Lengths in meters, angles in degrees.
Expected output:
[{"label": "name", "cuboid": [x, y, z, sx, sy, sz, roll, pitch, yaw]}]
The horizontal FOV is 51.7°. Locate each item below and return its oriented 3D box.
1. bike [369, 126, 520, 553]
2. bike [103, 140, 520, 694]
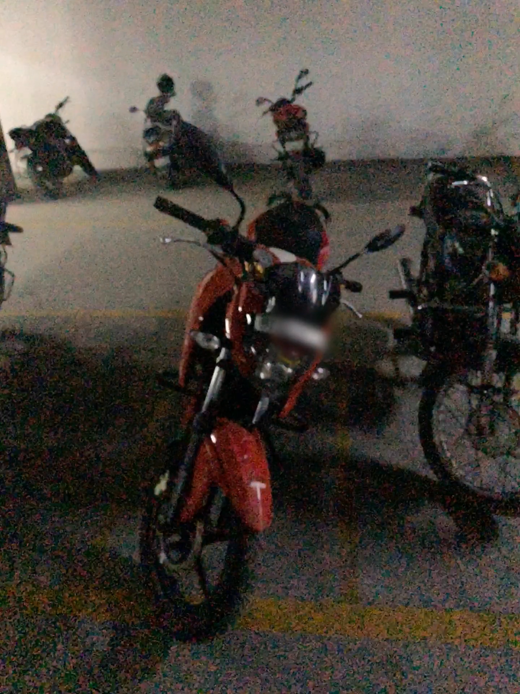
[{"label": "bike", "cuboid": [0.899, -0.218, 2.071, 0.673, 0.933, 1.574, -1, 30, 3]}, {"label": "bike", "cuboid": [0.151, -0.001, 1.902, 0.801, 1.006, 1.702, -1, 31, 3]}]
